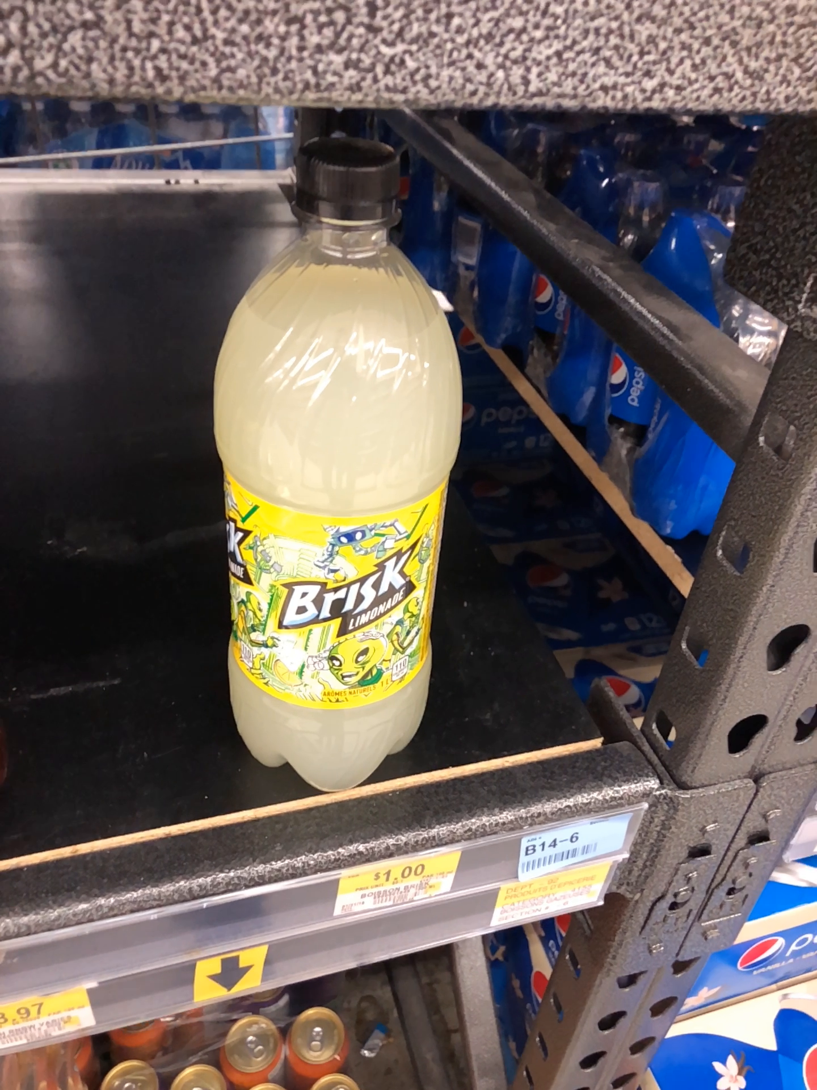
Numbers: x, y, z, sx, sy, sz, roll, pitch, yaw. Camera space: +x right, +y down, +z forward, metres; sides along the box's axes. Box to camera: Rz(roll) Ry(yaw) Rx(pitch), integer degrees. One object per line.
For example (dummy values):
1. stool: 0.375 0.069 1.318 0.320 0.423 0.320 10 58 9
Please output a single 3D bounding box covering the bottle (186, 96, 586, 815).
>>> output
1. bottle: -0.022 -0.020 0.317 0.090 0.228 0.091 4 37 -3
